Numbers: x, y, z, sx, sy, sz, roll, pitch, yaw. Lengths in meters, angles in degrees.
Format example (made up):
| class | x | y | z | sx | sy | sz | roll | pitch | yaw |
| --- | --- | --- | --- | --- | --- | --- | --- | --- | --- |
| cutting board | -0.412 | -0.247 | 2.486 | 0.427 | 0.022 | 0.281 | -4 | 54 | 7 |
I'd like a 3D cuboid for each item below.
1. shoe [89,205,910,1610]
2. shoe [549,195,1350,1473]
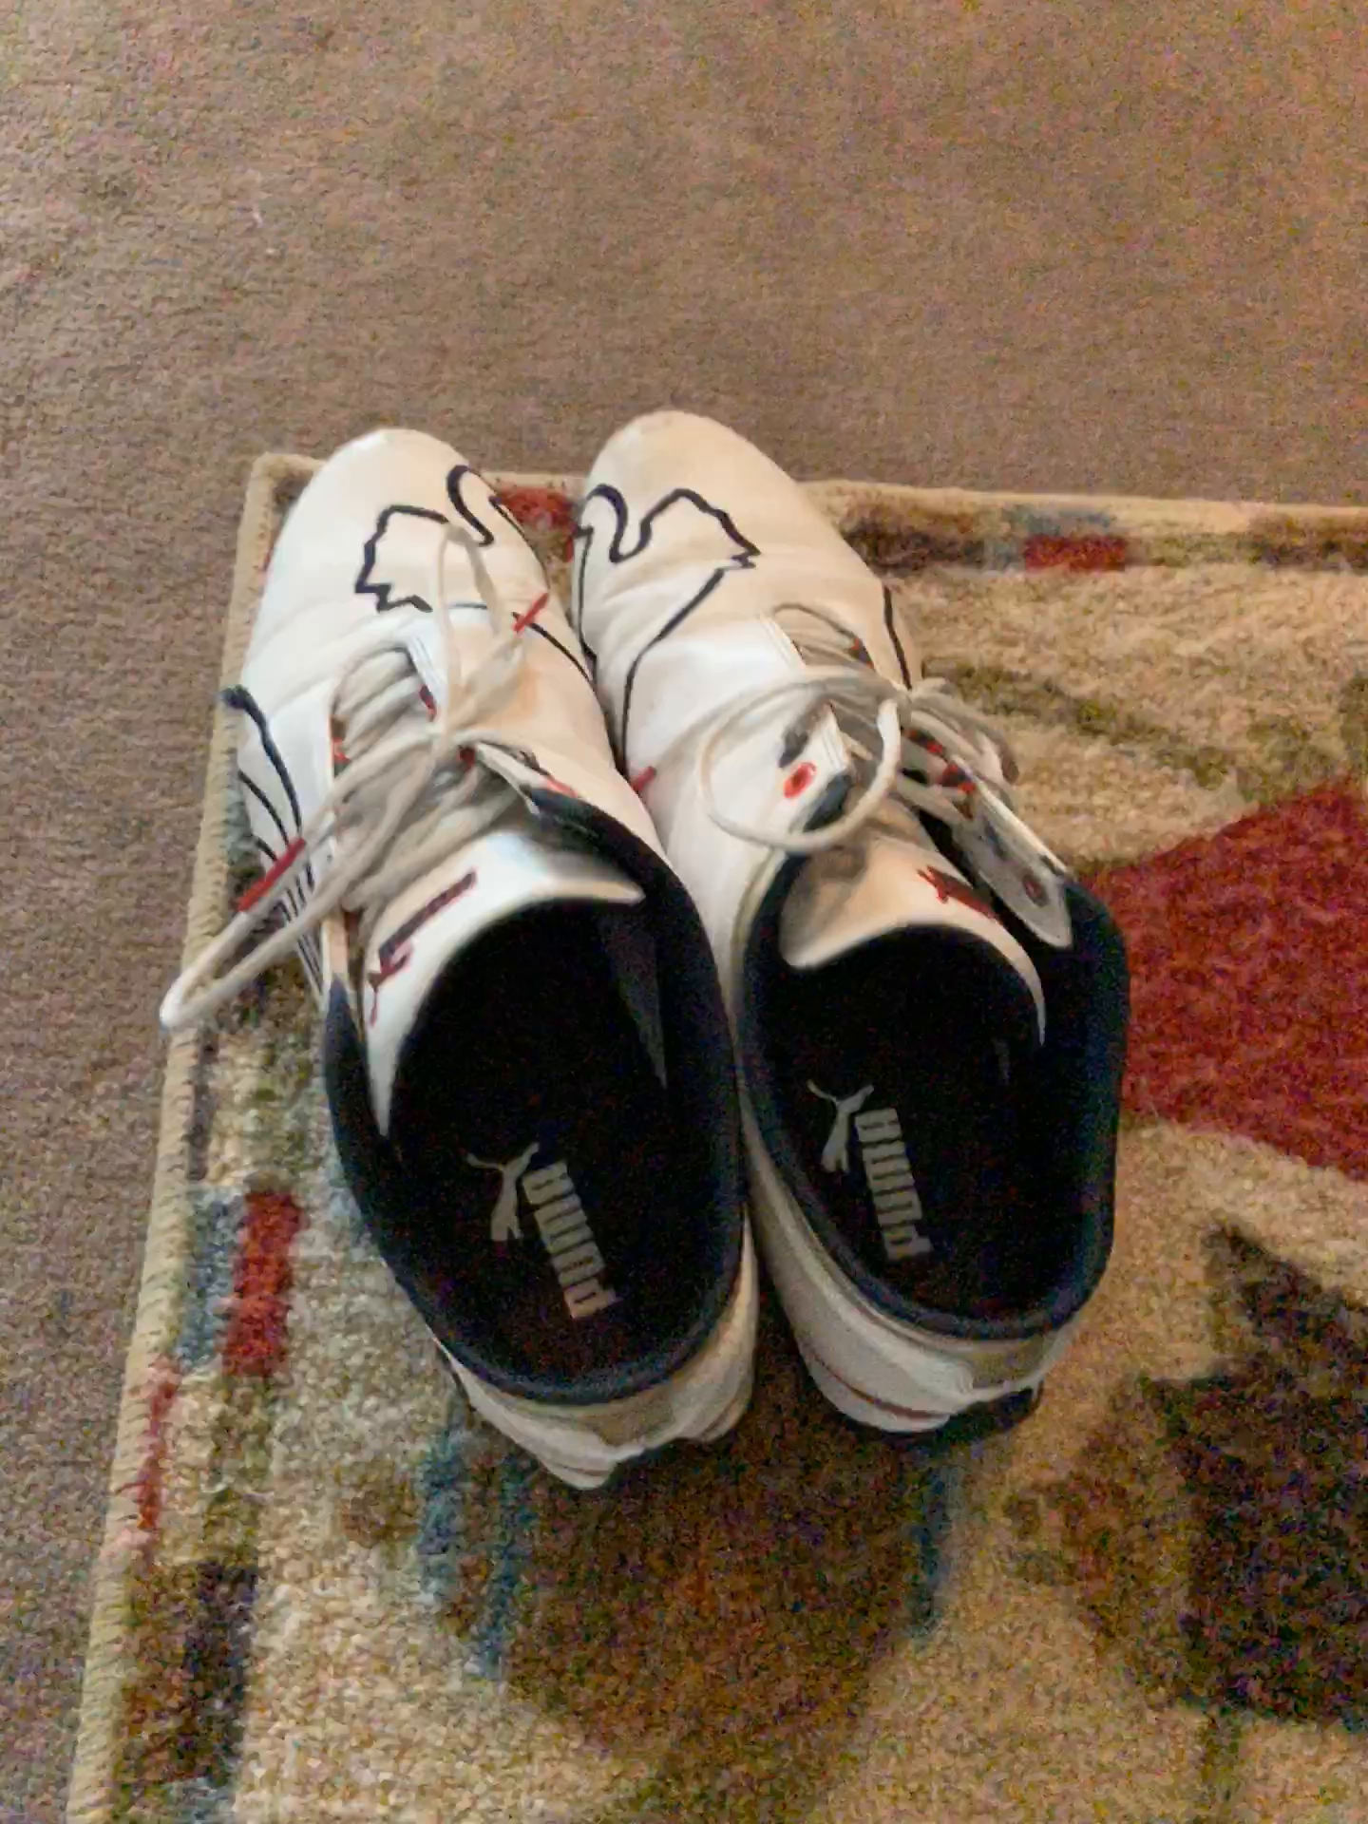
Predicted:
| class | x | y | z | sx | sy | sz | roll | pitch | yaw |
| --- | --- | --- | --- | --- | --- | --- | --- | --- | --- |
| shoe | -0.053 | -0.010 | 0.340 | 0.100 | 0.107 | 0.291 | -14 | 72 | -11 |
| shoe | 0.043 | -0.024 | 0.360 | 0.100 | 0.107 | 0.291 | -10 | 71 | -10 |
